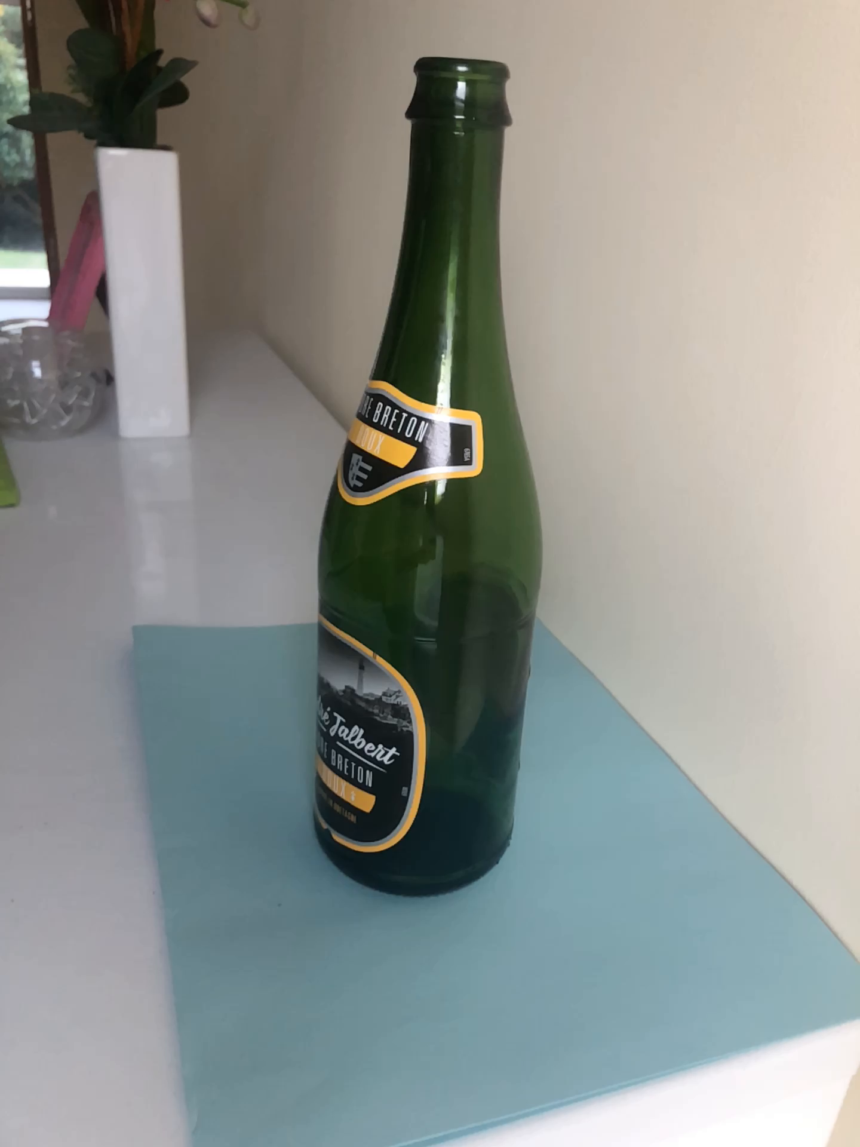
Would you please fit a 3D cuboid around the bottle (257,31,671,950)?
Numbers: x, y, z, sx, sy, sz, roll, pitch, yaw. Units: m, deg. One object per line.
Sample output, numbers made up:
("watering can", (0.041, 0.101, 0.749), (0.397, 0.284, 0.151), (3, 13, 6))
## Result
("bottle", (-0.001, -0.021, 0.328), (0.080, 0.278, 0.090), (-13, 29, -33))
